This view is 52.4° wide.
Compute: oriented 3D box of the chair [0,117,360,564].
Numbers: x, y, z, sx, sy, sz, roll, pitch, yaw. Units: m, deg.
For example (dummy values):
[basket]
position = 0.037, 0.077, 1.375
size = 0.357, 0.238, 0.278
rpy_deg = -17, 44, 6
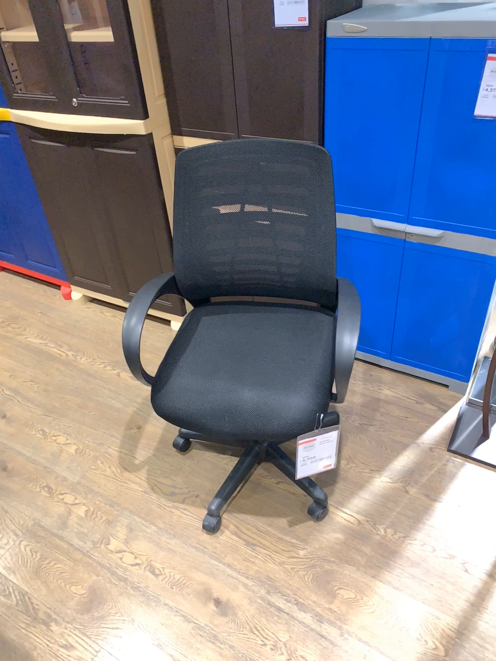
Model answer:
[chair]
position = -0.046, 0.035, 1.367
size = 0.600, 0.996, 0.602
rpy_deg = 4, 39, 13
